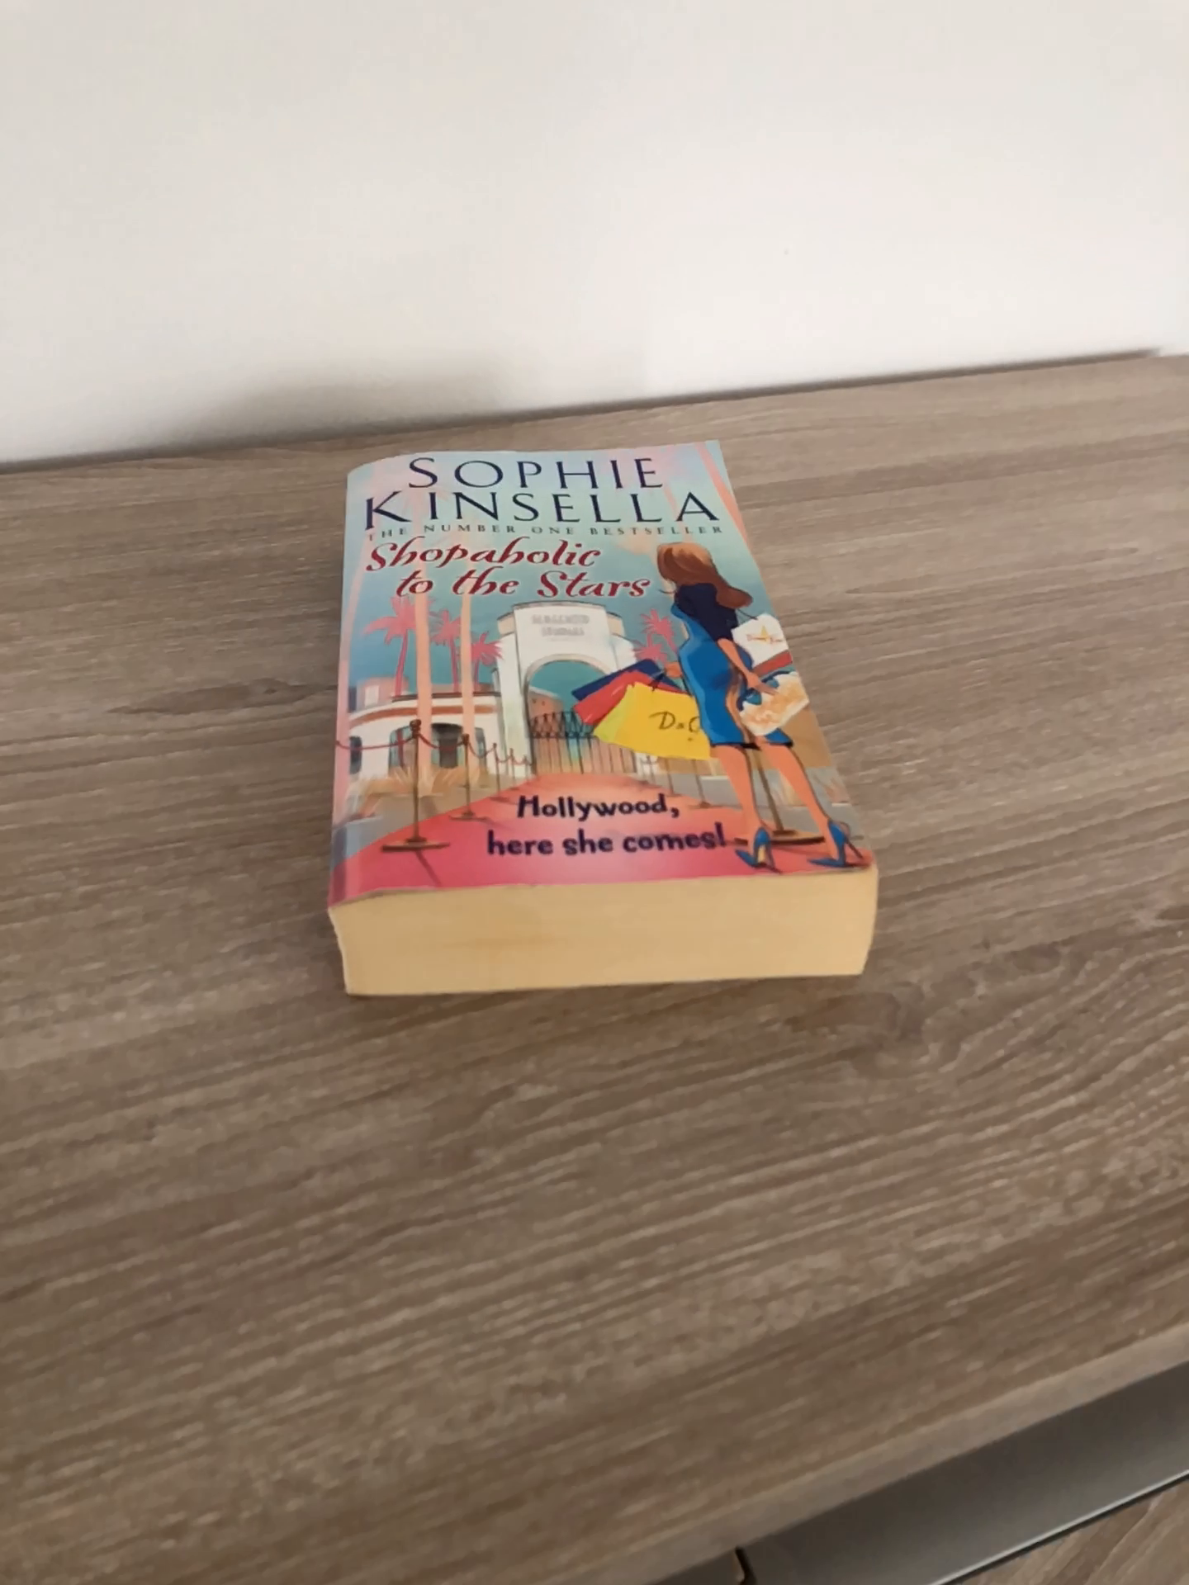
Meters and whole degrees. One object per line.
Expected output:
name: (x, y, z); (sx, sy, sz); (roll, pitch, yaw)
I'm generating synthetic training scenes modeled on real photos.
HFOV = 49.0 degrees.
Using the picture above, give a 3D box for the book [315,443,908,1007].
book: (-0.008, -0.034, 0.370); (0.130, 0.040, 0.201); (-2, 42, -8)
